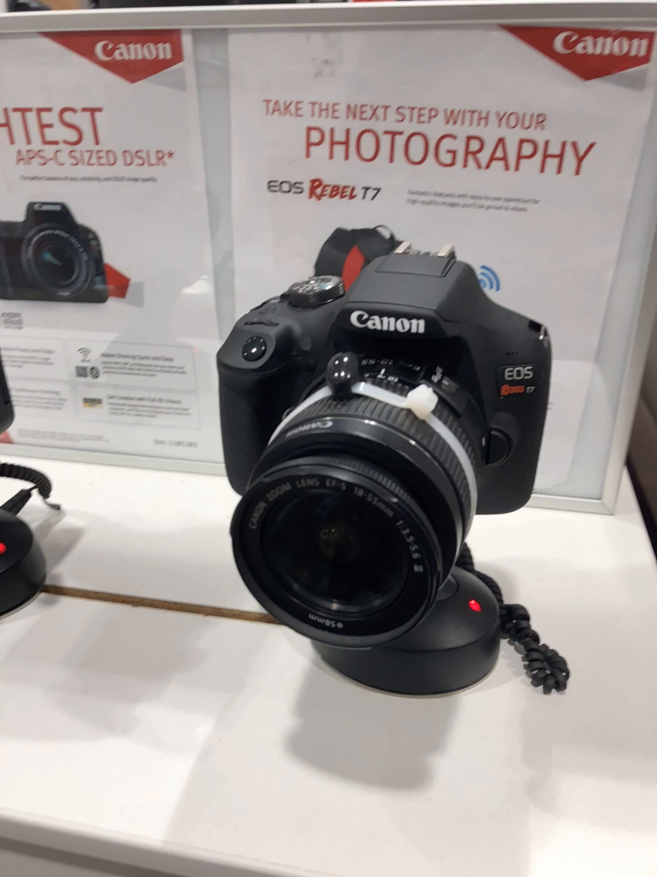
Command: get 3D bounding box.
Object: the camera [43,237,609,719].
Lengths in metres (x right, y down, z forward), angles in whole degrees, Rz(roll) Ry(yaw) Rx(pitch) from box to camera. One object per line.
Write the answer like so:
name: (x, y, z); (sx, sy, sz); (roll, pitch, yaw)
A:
camera: (0.014, -0.006, 0.258); (0.140, 0.090, 0.151); (7, 28, 15)
